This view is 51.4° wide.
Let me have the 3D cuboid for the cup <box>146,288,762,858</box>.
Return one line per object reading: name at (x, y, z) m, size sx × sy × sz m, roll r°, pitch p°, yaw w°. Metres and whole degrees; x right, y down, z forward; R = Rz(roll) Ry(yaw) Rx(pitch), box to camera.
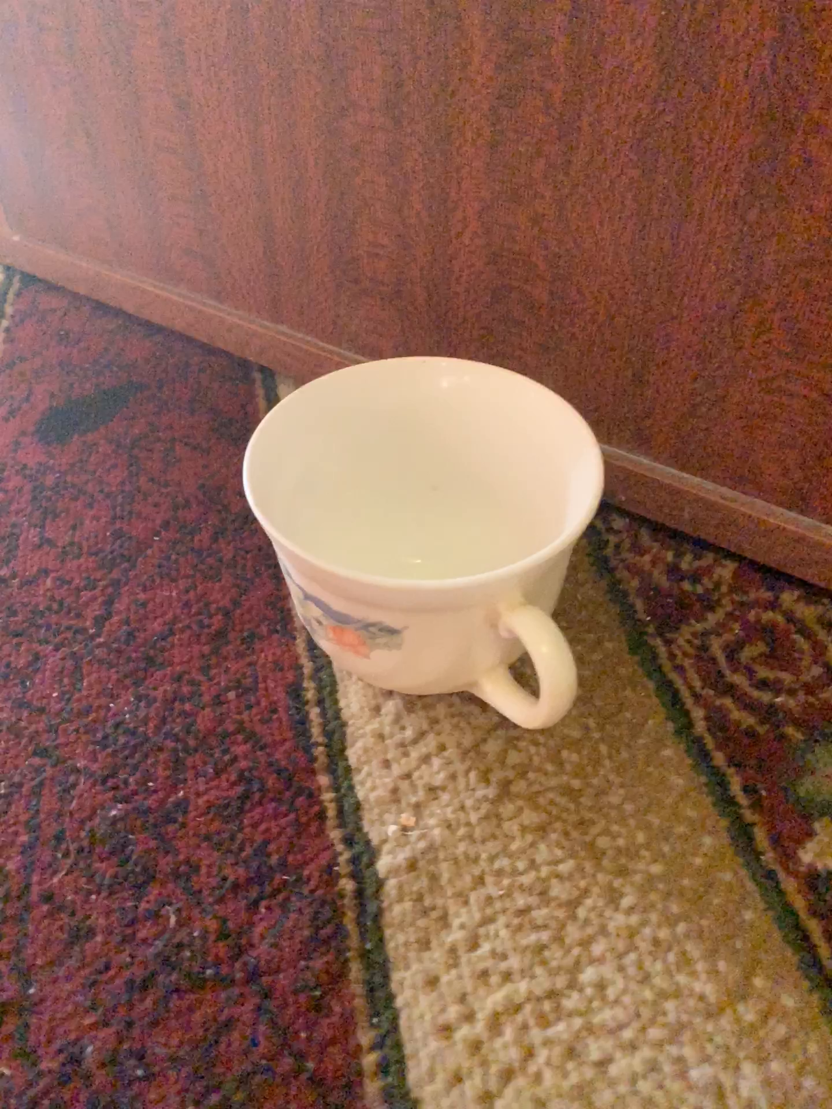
cup at (0.003, -0.006, 0.202) m, size 0.082 × 0.053 × 0.110 m, roll -25°, pitch 48°, yaw -25°
